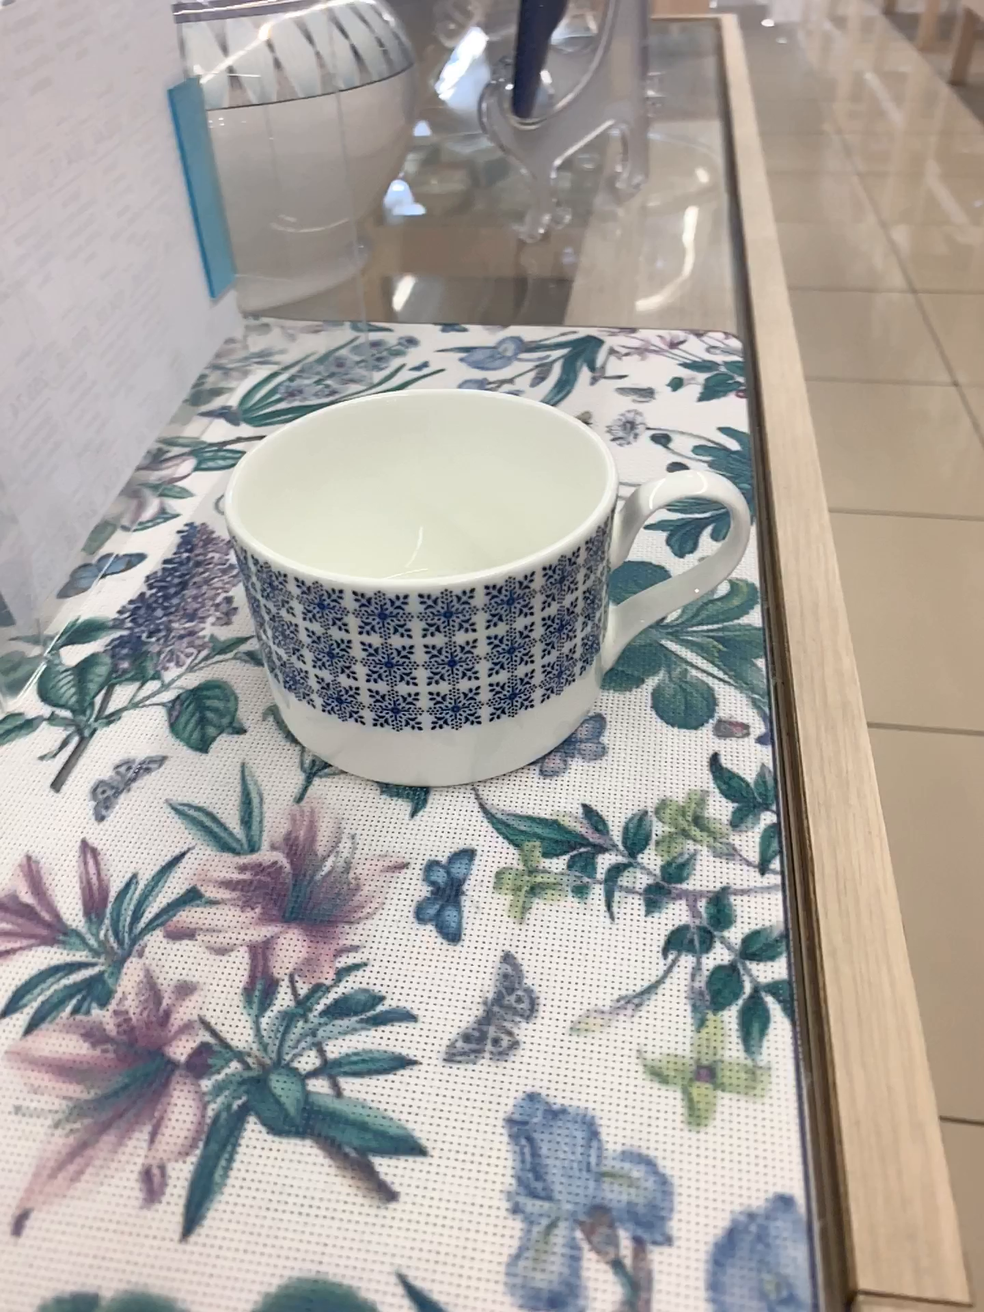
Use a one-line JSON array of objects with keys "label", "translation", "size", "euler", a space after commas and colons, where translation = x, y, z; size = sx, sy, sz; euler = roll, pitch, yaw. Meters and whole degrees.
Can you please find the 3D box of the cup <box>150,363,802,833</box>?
[{"label": "cup", "translation": [-0.005, -0.018, 0.240], "size": [0.120, 0.060, 0.090], "euler": [-5, 40, -3]}]
